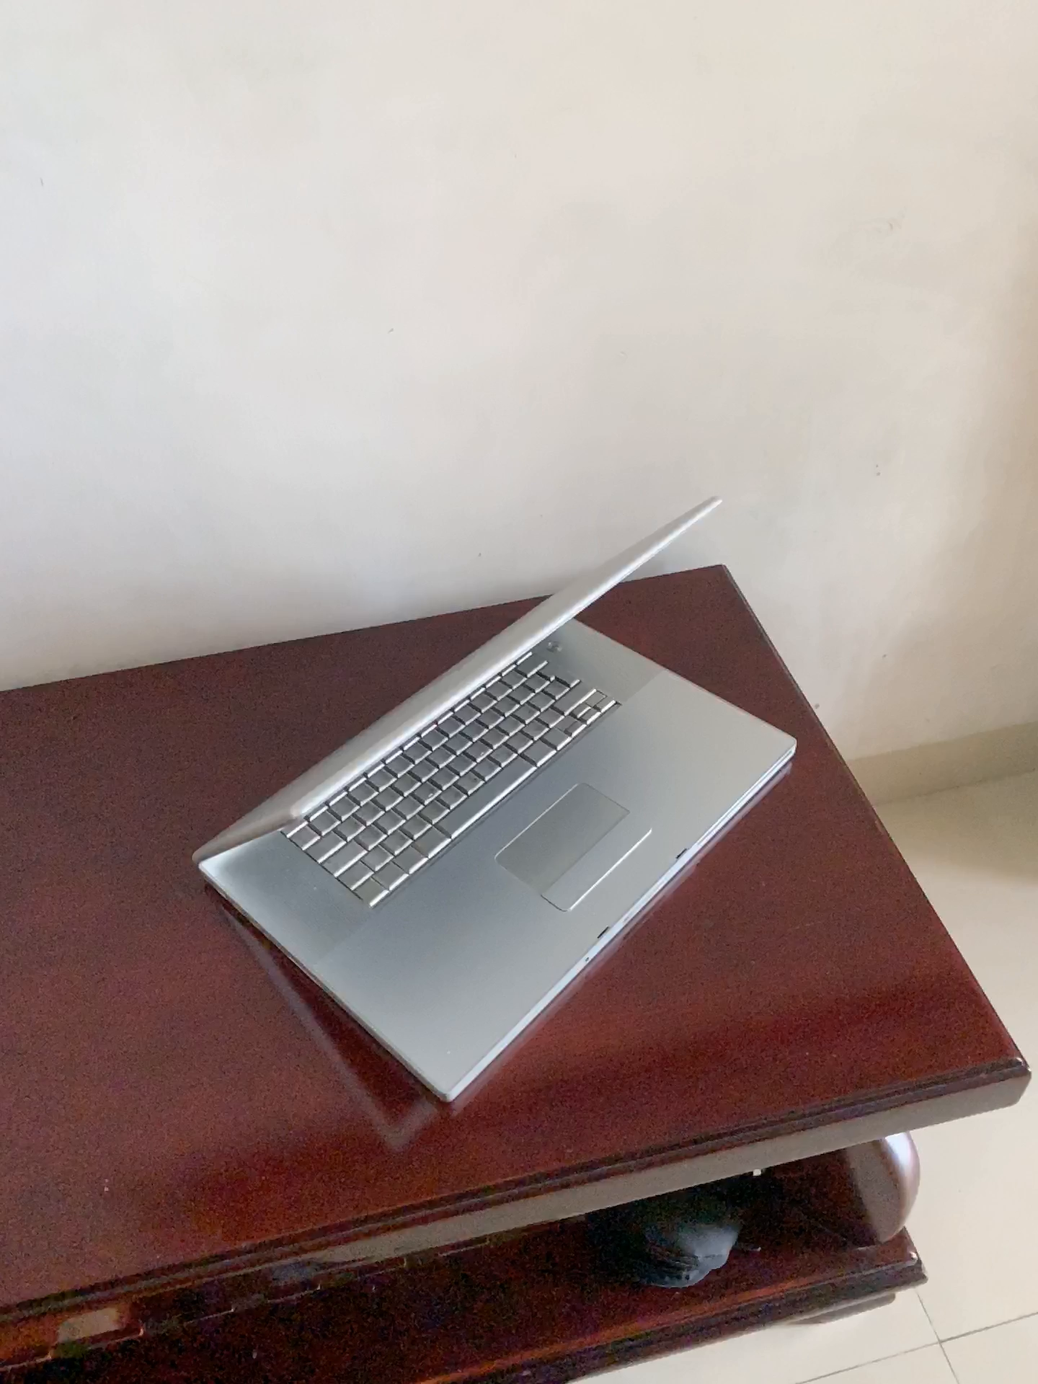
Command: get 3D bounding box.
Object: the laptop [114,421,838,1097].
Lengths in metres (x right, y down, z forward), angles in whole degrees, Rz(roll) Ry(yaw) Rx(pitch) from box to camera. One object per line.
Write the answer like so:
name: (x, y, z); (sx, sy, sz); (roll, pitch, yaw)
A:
laptop: (-0.009, 0.014, 0.755); (0.266, 0.193, 0.400); (31, 52, 30)
